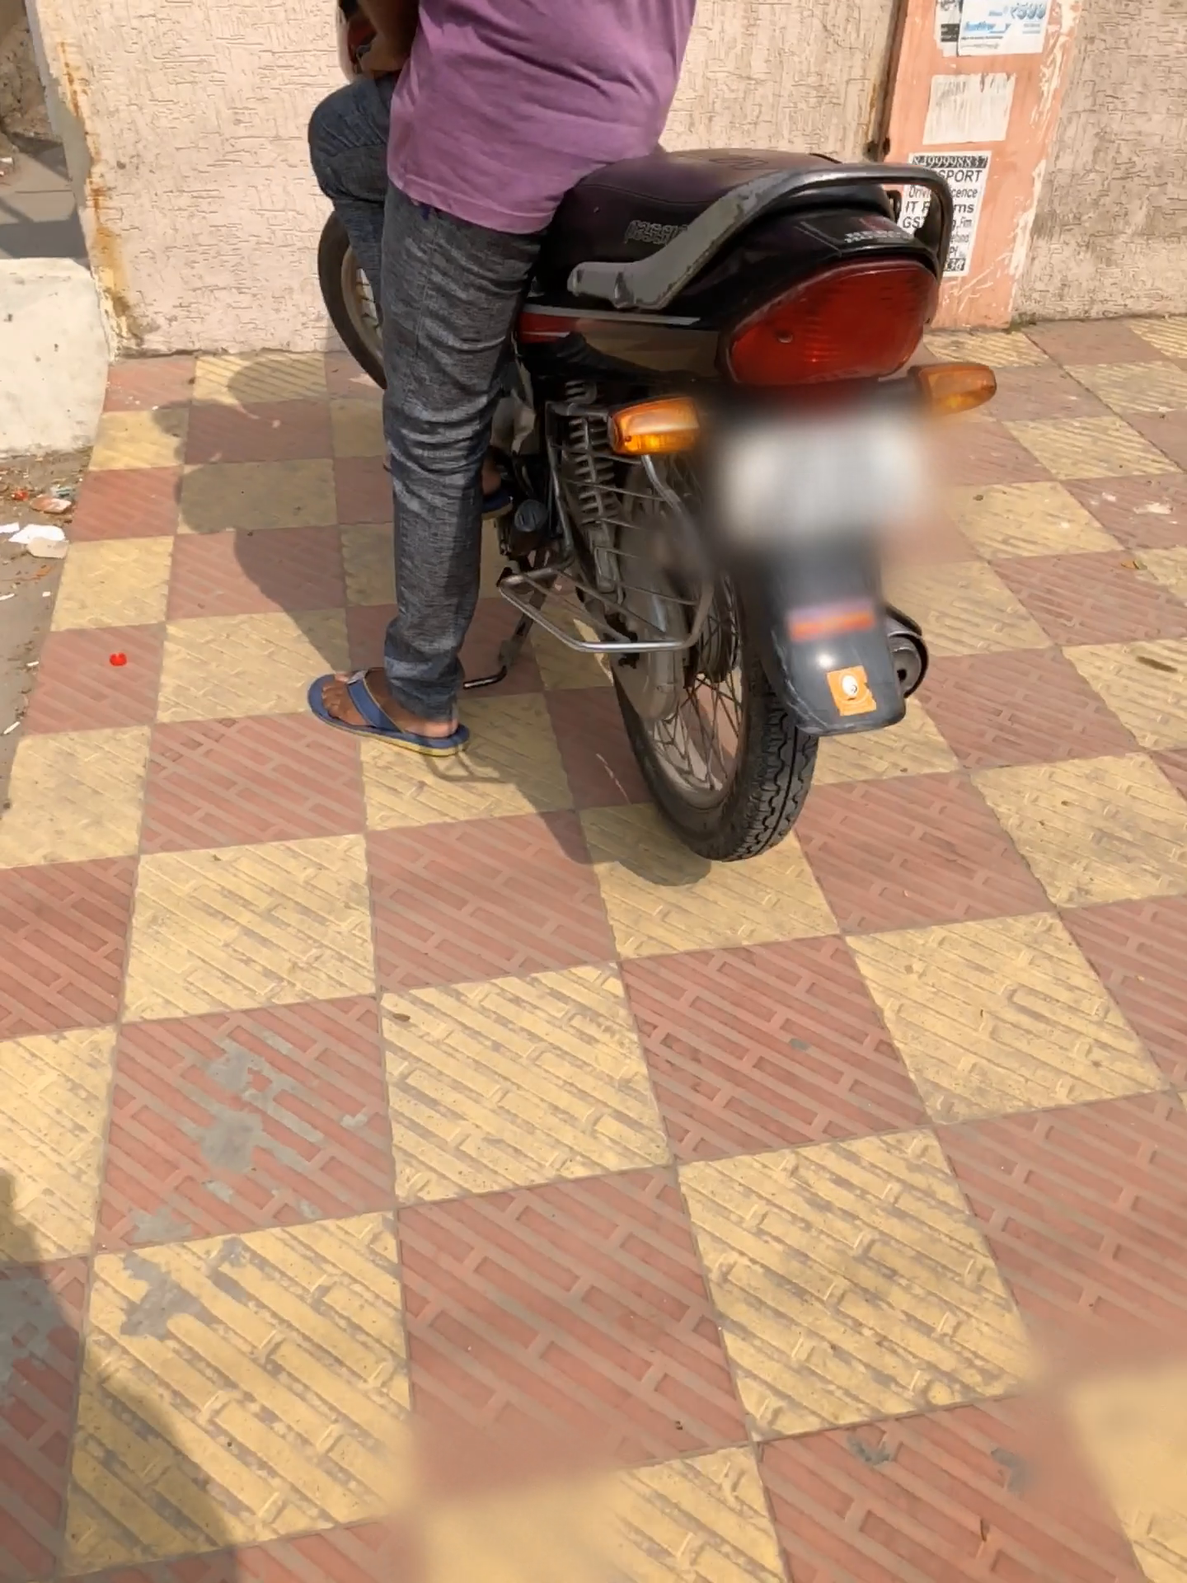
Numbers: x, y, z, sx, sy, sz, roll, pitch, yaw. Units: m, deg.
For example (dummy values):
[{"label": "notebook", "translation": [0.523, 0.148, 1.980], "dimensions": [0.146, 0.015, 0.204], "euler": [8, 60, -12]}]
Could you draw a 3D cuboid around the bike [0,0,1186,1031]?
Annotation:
[{"label": "bike", "translation": [-0.216, -0.725, 1.888], "dimensions": [0.894, 1.066, 1.728], "euler": [-16, 43, -21]}]
